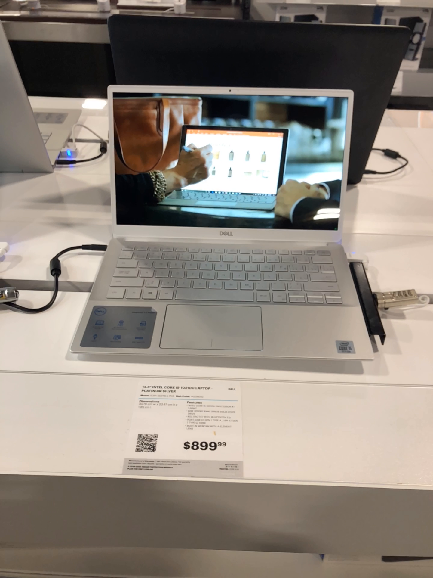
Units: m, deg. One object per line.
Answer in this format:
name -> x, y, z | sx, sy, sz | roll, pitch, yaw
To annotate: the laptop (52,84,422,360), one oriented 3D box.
laptop -> 0.018, -0.094, 0.540 | 0.293, 0.165, 0.294 | 1, 41, 4
